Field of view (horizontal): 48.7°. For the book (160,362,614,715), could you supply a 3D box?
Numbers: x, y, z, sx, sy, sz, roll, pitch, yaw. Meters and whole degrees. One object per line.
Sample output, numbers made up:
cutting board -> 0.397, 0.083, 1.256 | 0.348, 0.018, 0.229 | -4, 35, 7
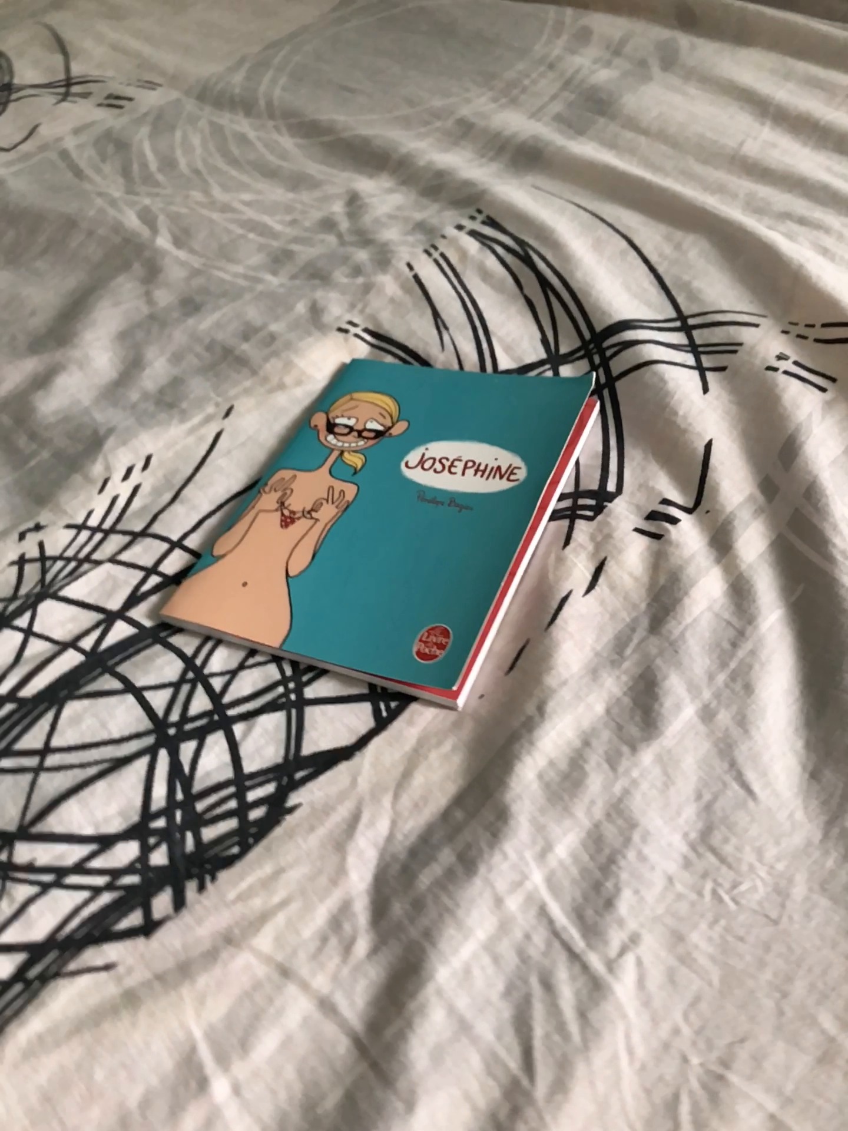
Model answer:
book -> -0.010, -0.027, 0.433 | 0.144, 0.014, 0.188 | 11, 51, 25
